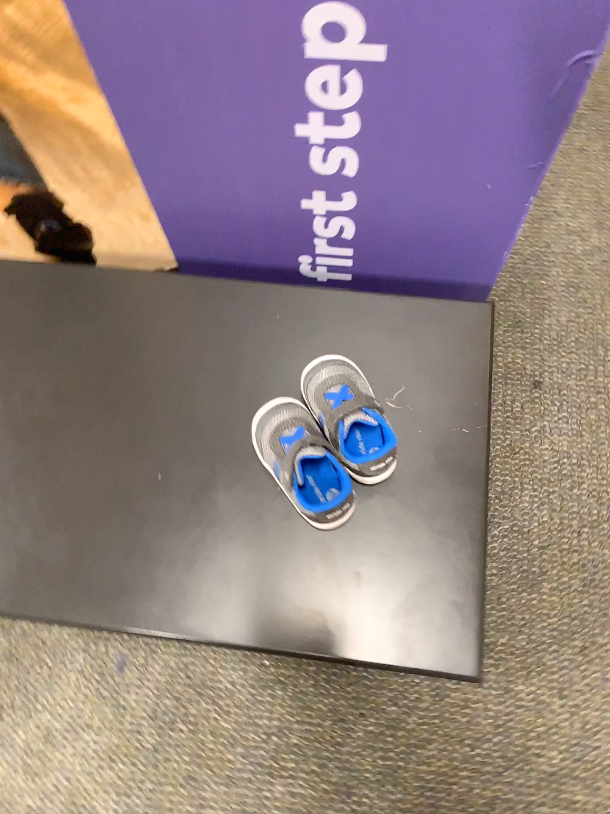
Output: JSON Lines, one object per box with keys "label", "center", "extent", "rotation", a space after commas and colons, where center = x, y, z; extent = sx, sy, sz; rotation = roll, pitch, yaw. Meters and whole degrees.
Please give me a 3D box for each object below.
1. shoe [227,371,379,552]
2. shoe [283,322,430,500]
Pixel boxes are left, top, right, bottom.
{"label": "shoe", "center": [-0.003, 0.051, 0.575], "extent": [0.070, 0.060, 0.140], "rotation": [-31, 72, -8]}
{"label": "shoe", "center": [0.045, 0.004, 0.586], "extent": [0.070, 0.060, 0.140], "rotation": [-28, 72, -7]}
